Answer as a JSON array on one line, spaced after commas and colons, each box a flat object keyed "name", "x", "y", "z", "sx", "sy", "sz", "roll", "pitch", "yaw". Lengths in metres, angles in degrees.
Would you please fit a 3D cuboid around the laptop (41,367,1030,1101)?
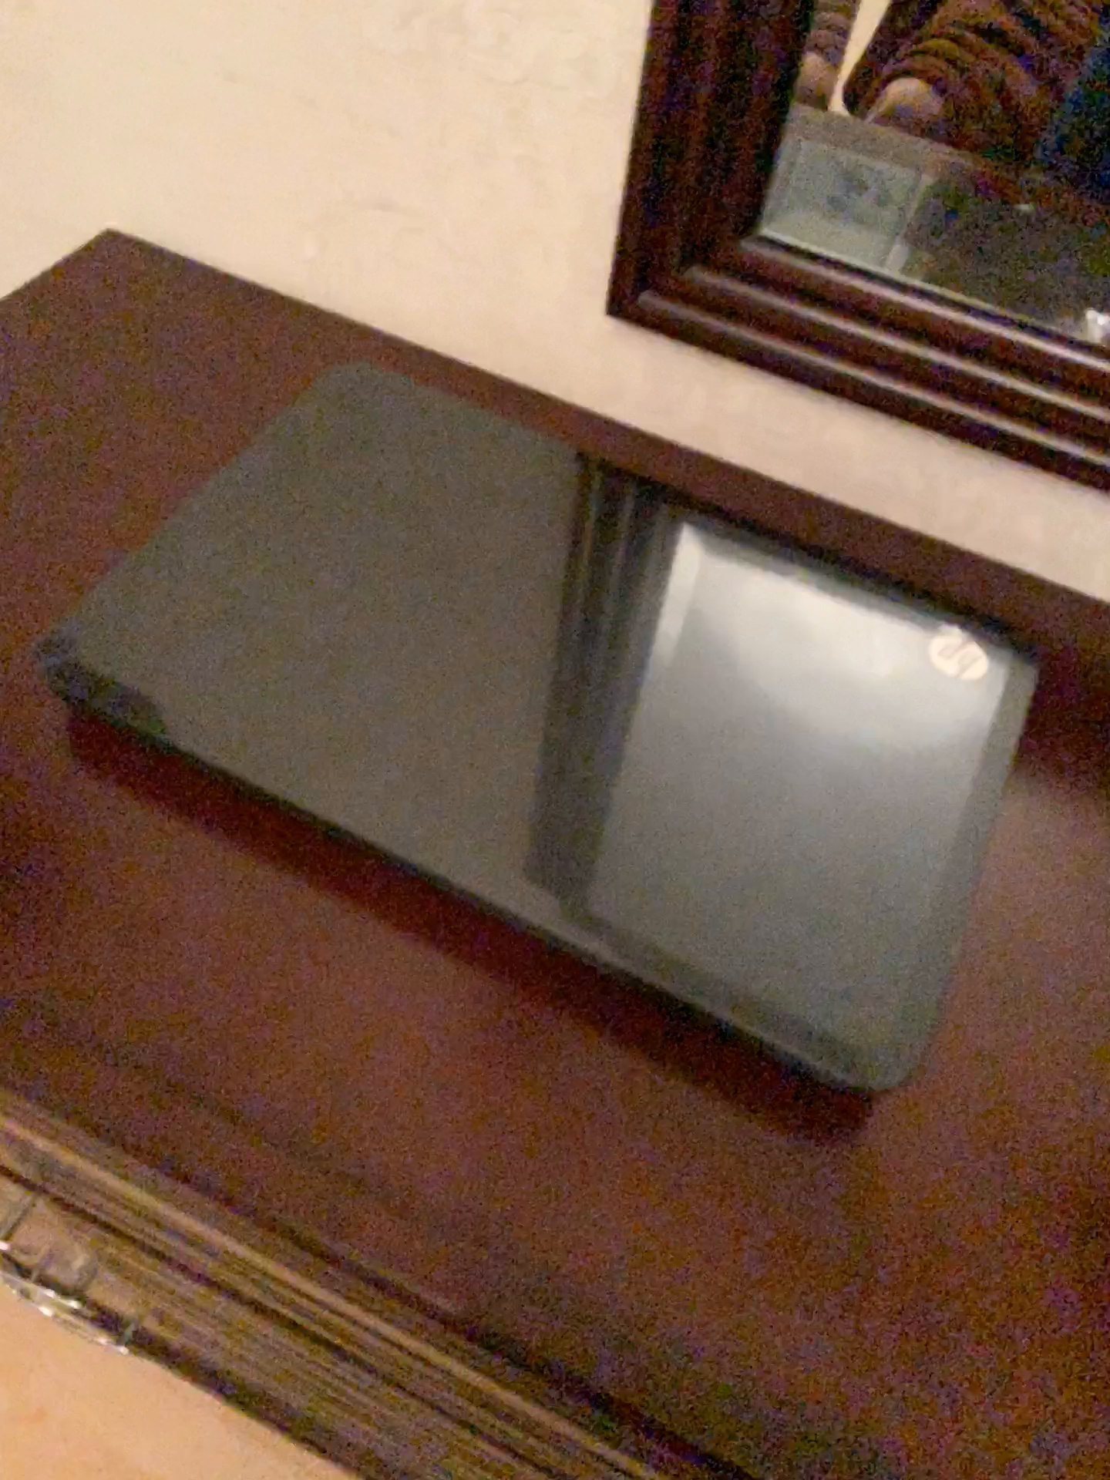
[{"name": "laptop", "x": 0.009, "y": -0.030, "z": 0.461, "sx": 0.341, "sy": 0.007, "sz": 0.224, "roll": 25, "pitch": 55, "yaw": 8}]
